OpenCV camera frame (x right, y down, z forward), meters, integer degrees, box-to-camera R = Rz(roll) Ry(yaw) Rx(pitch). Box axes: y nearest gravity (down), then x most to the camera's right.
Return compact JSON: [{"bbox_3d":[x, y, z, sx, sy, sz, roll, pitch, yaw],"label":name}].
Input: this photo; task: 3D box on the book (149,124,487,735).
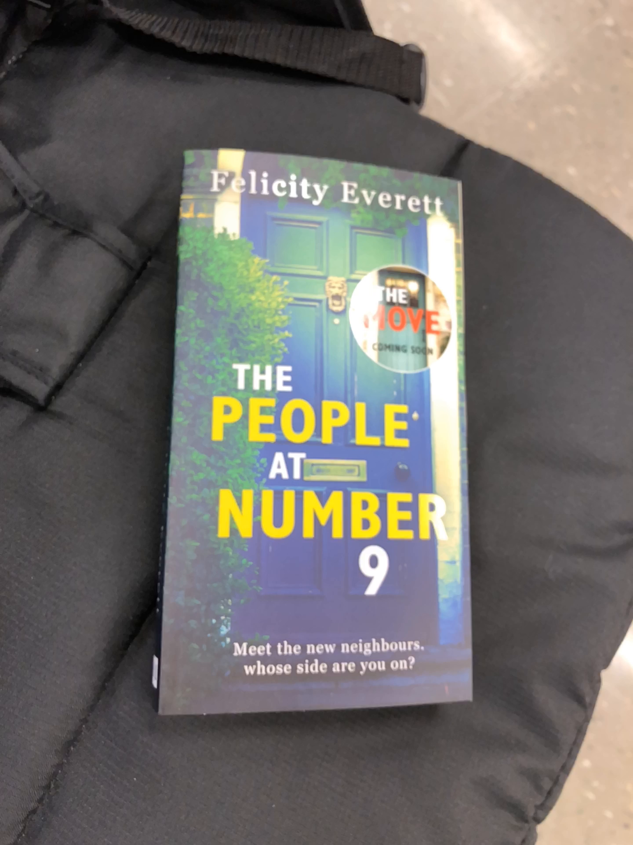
[{"bbox_3d":[0.002,0.001,0.256,0.110,0.030,0.195,3,81,-16],"label":"book"}]
